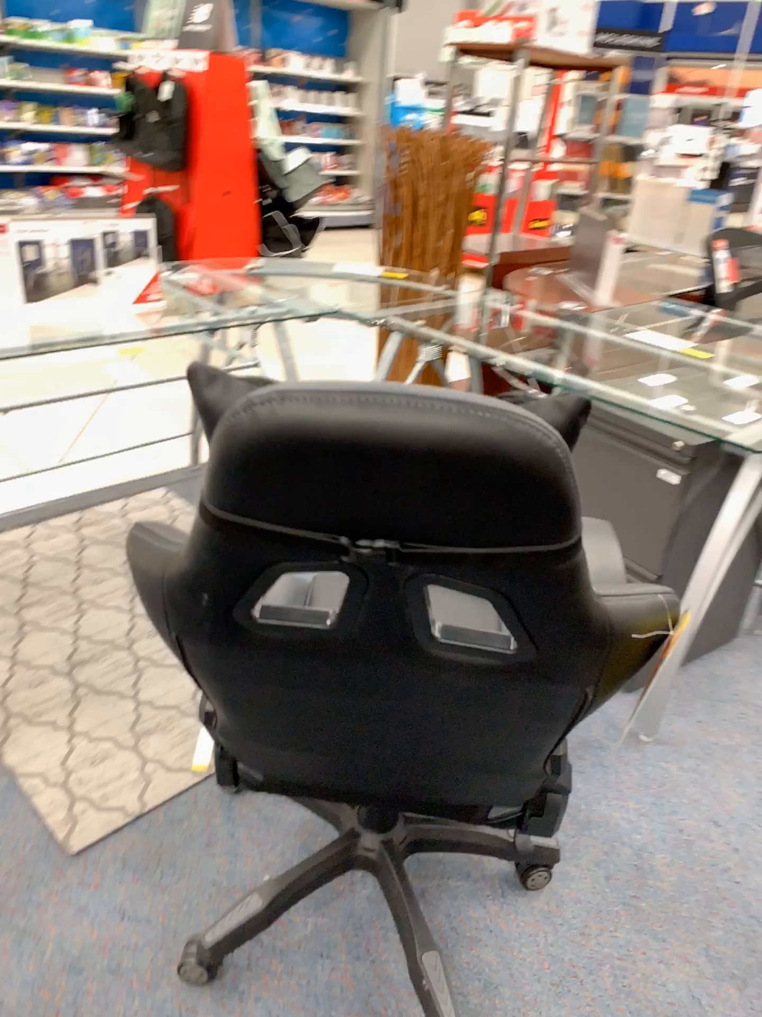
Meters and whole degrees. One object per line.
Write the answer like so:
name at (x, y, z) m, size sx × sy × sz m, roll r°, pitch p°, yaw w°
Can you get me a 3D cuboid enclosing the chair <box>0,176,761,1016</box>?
chair at (0.026, 0.172, 1.098) m, size 0.785 × 1.062 × 0.916 m, roll 6°, pitch 27°, yaw 2°
